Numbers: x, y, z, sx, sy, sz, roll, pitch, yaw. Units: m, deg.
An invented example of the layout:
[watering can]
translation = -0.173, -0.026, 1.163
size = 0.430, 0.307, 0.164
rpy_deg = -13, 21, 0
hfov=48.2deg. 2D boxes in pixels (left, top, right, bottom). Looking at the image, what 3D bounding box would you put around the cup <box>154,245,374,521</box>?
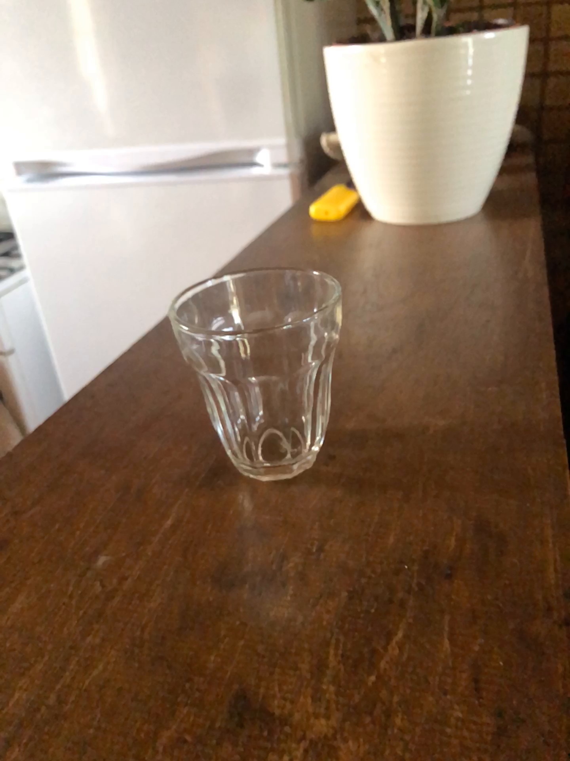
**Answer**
[cup]
translation = -0.011, -0.004, 0.277
size = 0.070, 0.080, 0.080
rpy_deg = -12, 28, -12
